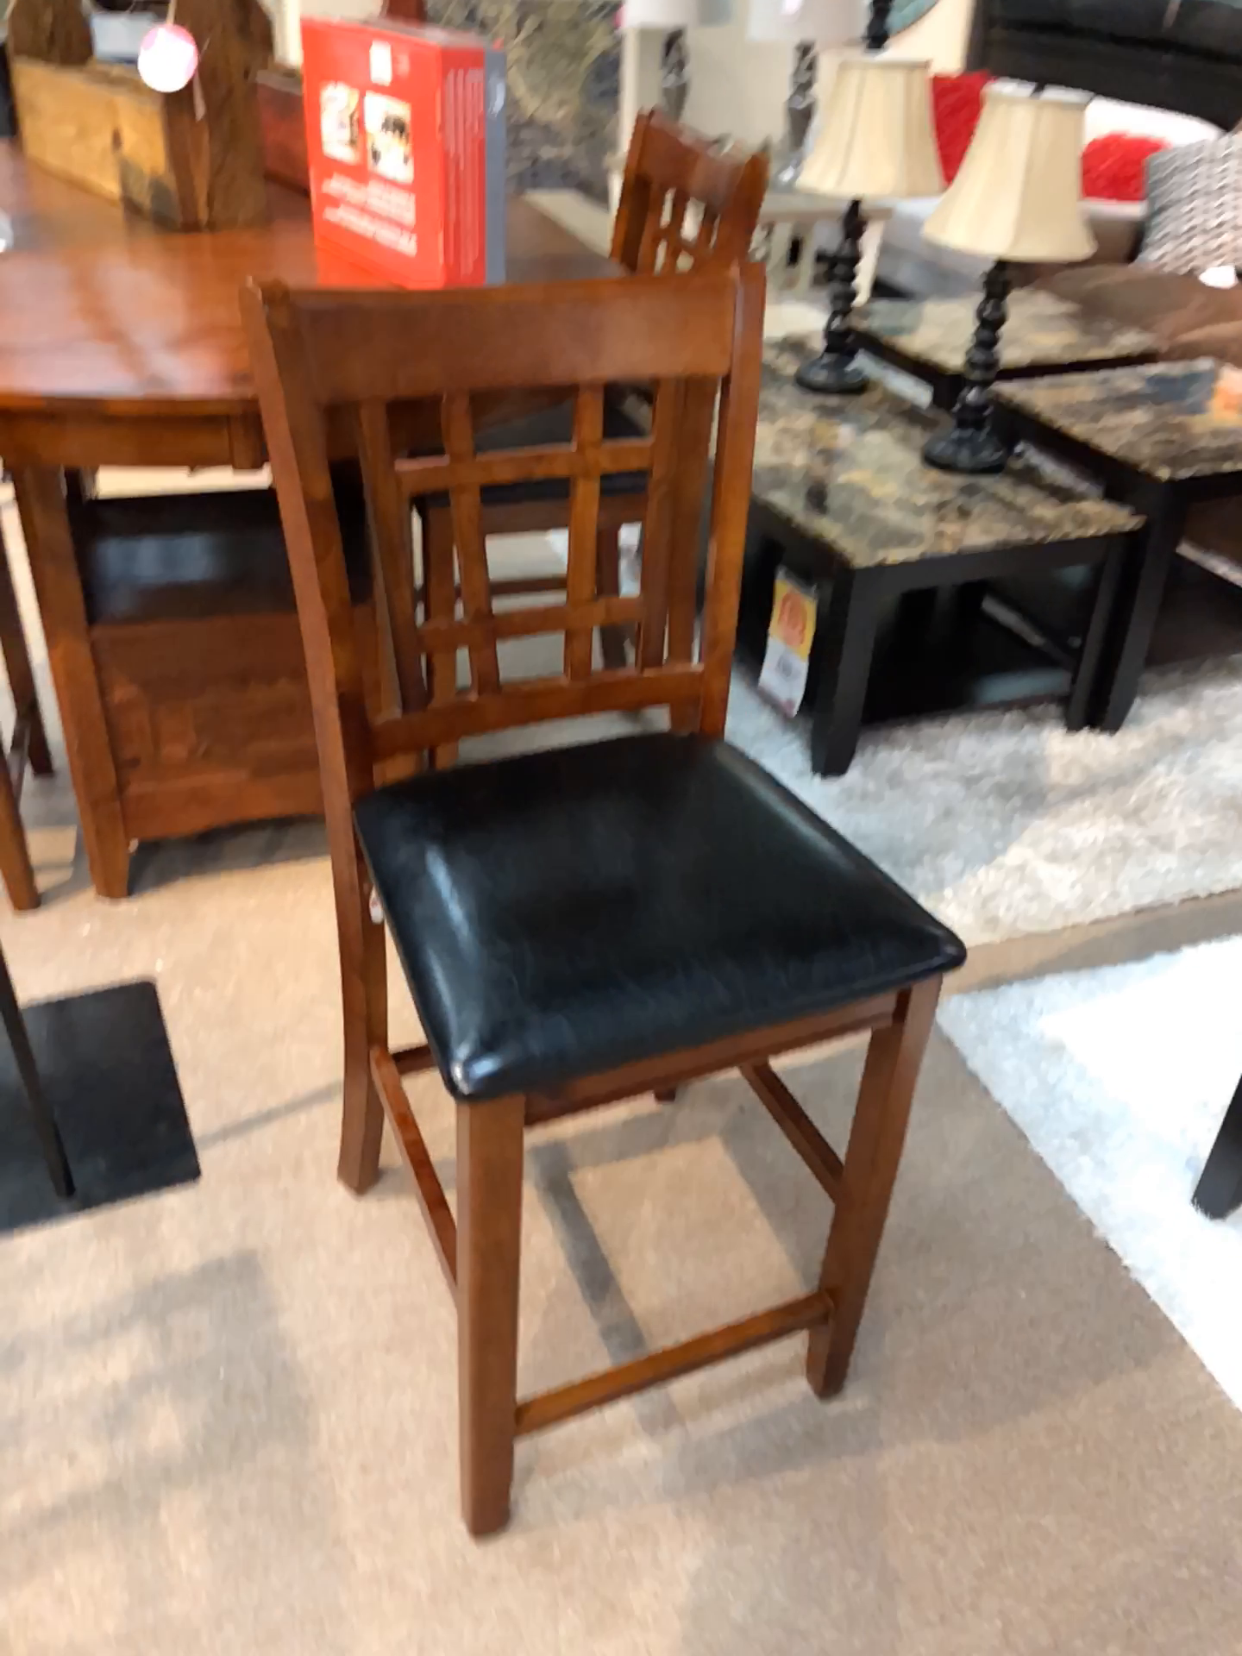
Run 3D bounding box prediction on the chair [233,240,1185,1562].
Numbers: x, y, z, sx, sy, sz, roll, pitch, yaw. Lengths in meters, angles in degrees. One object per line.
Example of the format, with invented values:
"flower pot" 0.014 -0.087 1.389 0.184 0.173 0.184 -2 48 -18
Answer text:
"chair" -0.004 0.056 1.198 0.470 0.963 0.523 -11 36 -22
